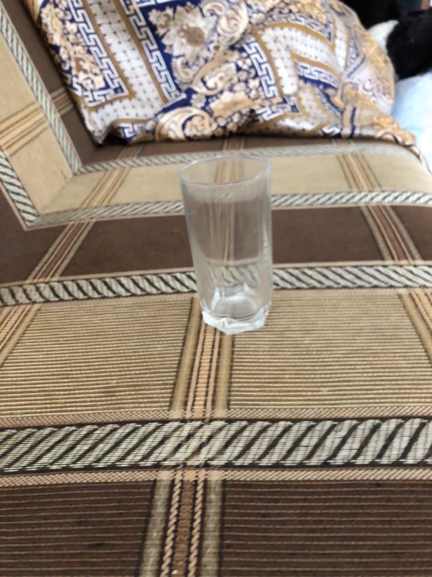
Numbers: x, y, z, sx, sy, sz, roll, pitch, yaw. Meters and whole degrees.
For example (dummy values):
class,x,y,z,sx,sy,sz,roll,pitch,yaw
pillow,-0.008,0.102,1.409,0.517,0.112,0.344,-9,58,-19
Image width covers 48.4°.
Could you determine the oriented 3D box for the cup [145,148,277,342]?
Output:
class,x,y,z,sx,sy,sz,roll,pitch,yaw
cup,0.003,-0.035,0.386,0.075,0.130,0.077,-5,30,3
